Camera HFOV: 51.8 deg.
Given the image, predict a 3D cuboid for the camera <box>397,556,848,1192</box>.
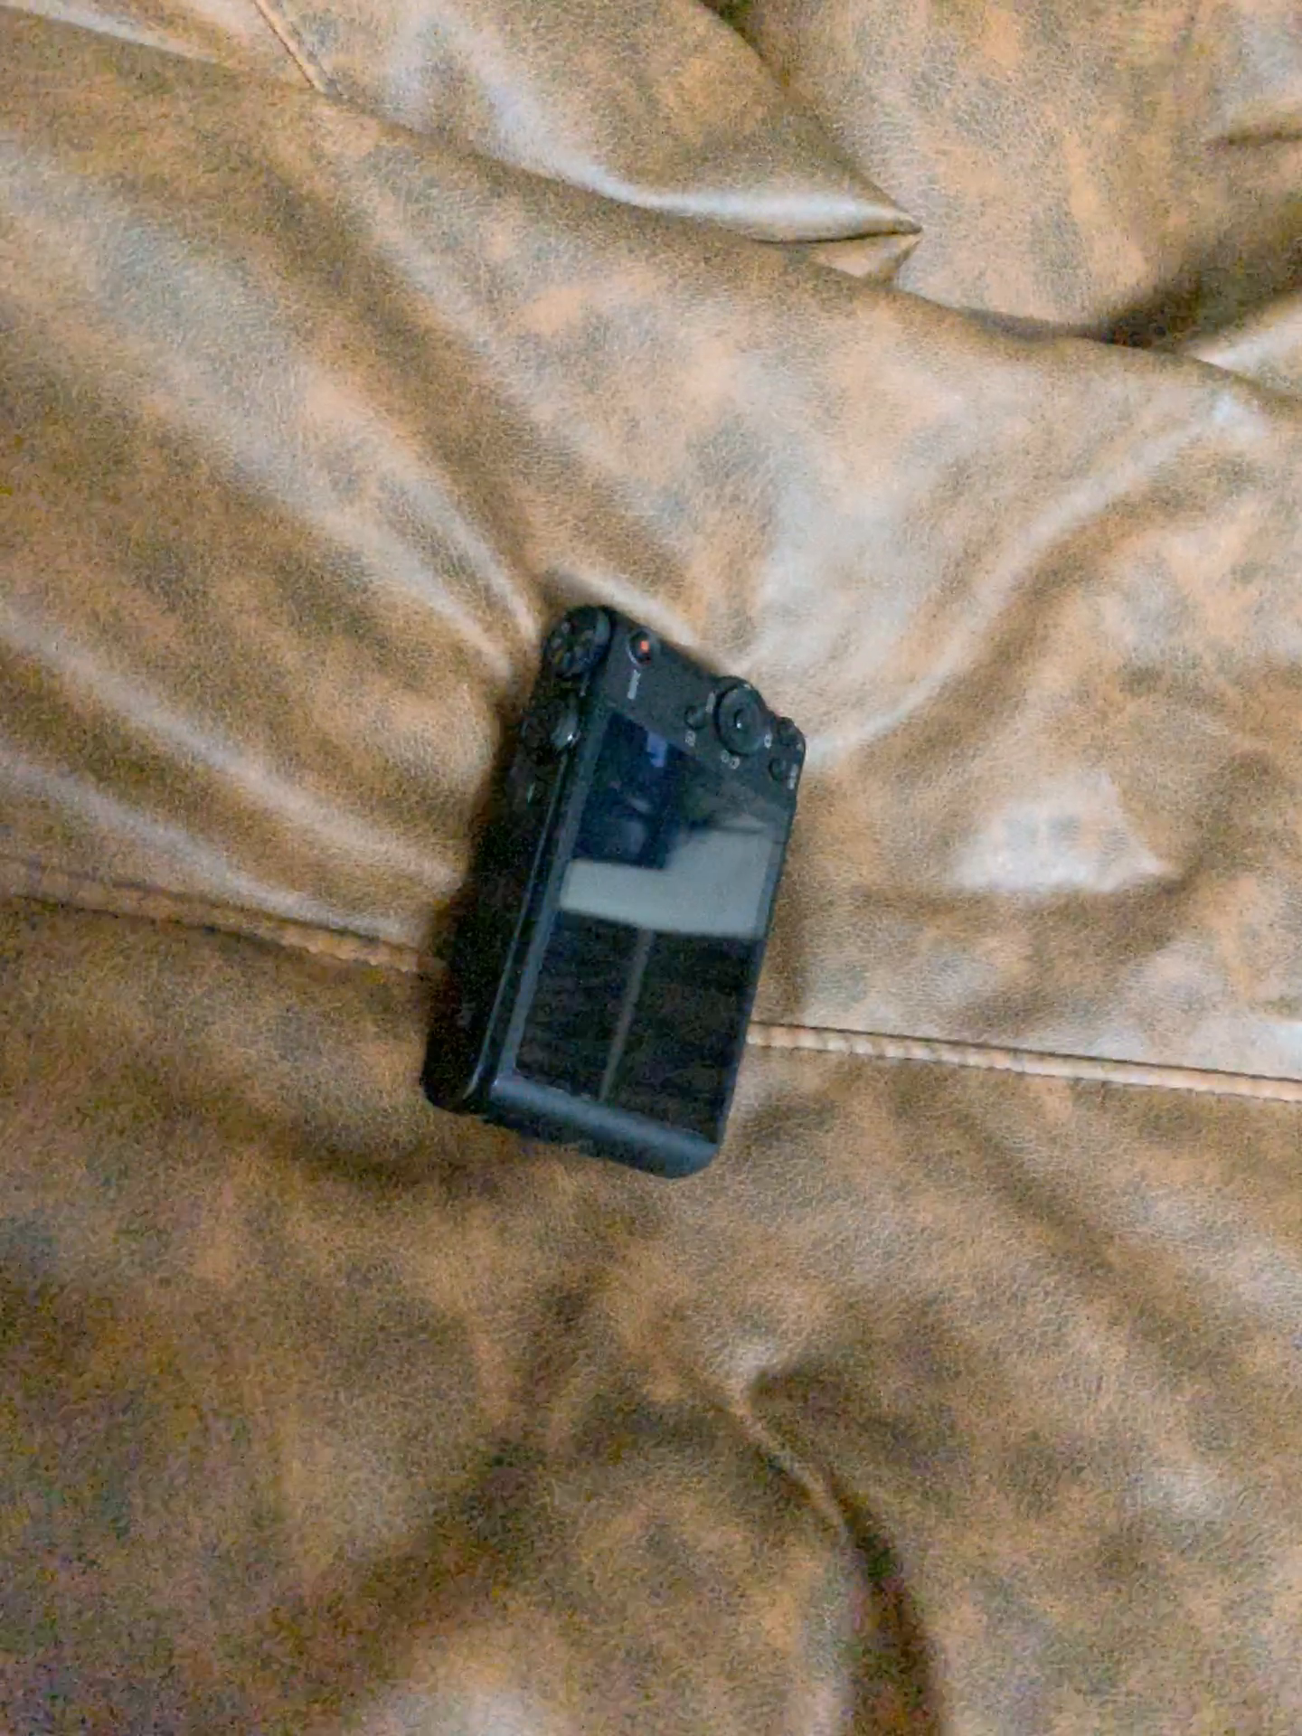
[{"bbox_3d":[-0.002,0.003,0.250,0.060,0.024,0.100,24,69,-30],"label":"camera"}]
